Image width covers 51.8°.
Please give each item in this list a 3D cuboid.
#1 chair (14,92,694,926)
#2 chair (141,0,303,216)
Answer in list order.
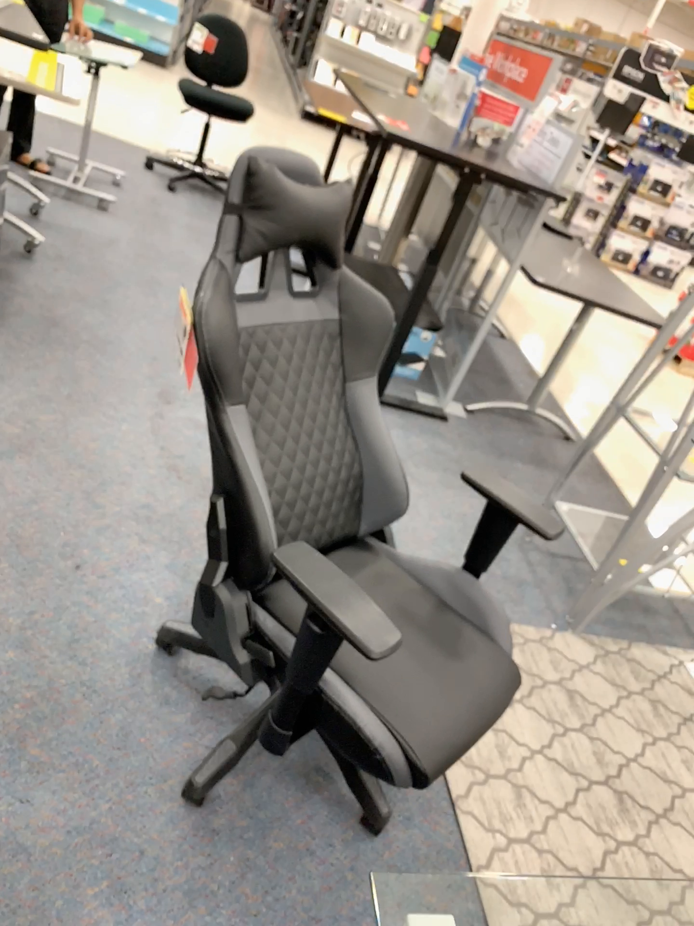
[{"bbox_3d":[0.020,0.060,1.406,0.912,1.062,0.788,39,34,24],"label":"chair"},{"bbox_3d":[-0.841,-2.276,4.529,0.676,0.982,0.875,8,34,-25],"label":"chair"}]
